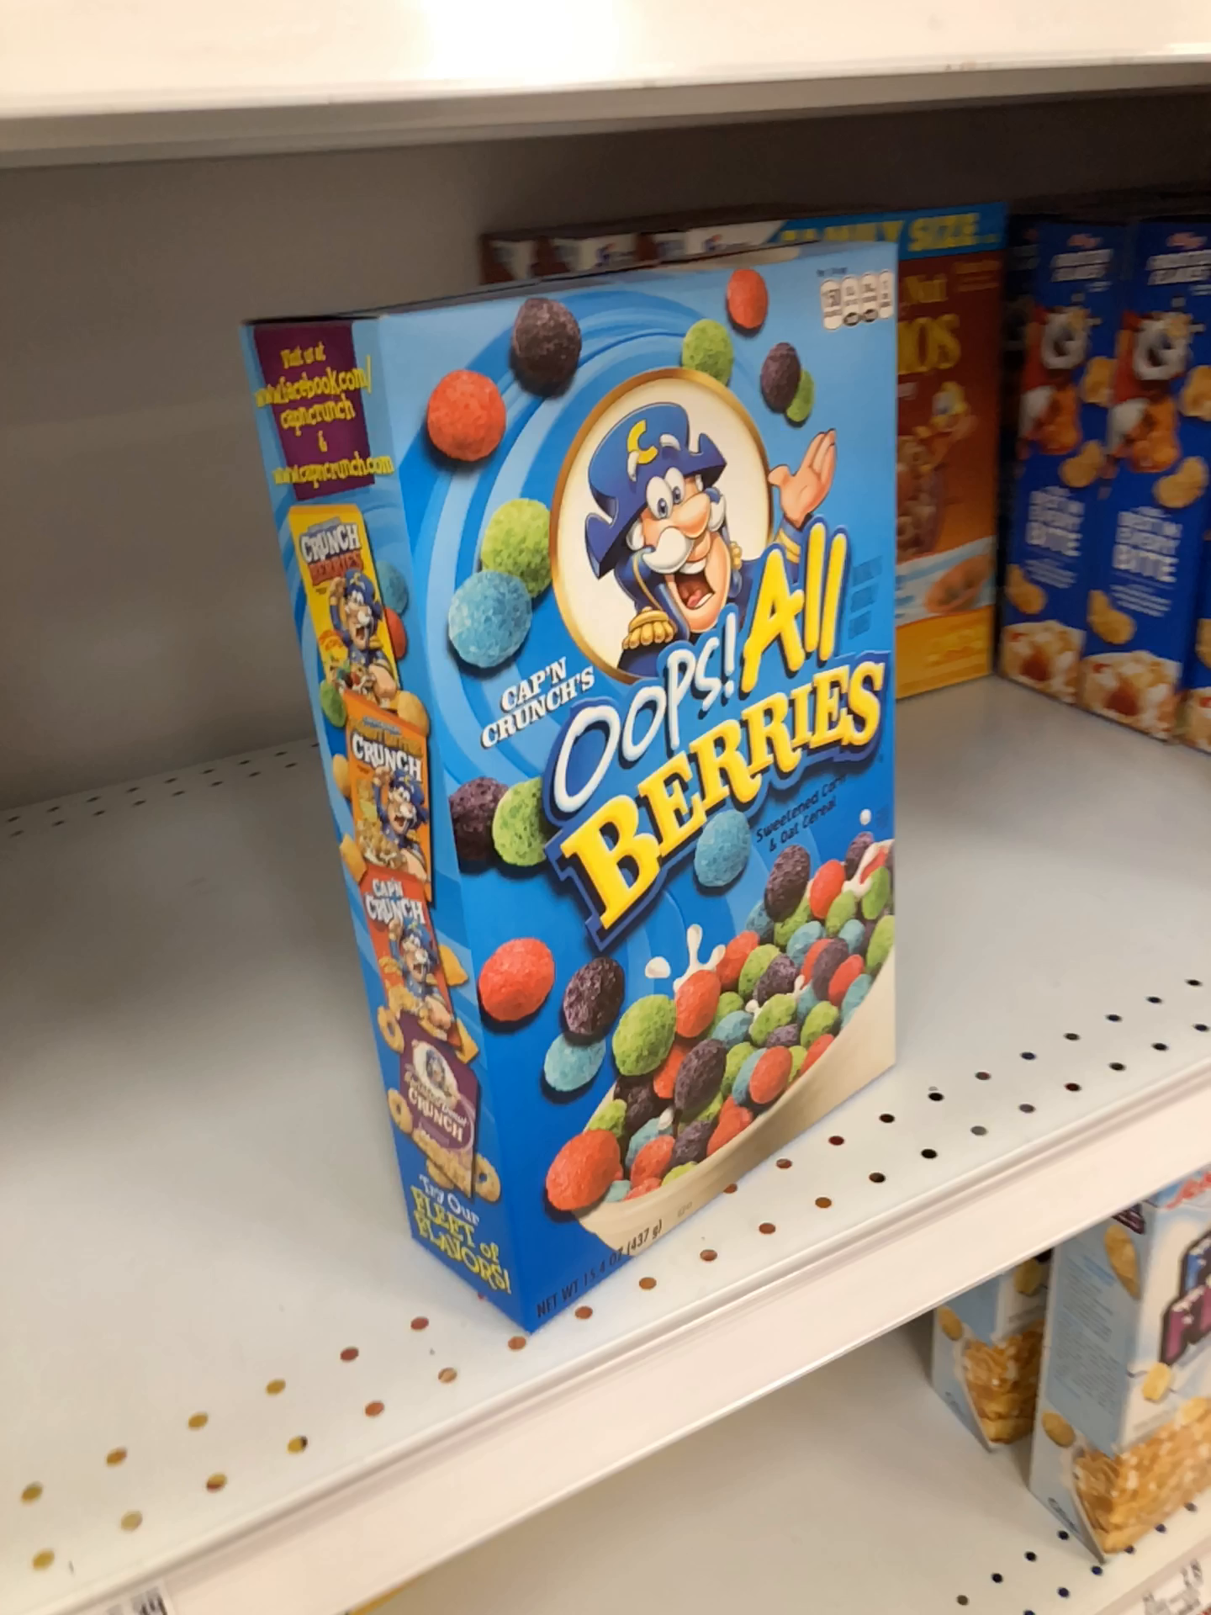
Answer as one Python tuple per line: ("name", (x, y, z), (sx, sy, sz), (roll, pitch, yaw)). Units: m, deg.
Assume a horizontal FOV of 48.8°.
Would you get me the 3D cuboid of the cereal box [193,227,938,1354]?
("cereal box", (0.012, -0.014, 0.459), (0.220, 0.319, 0.080), (-26, 32, -36))
